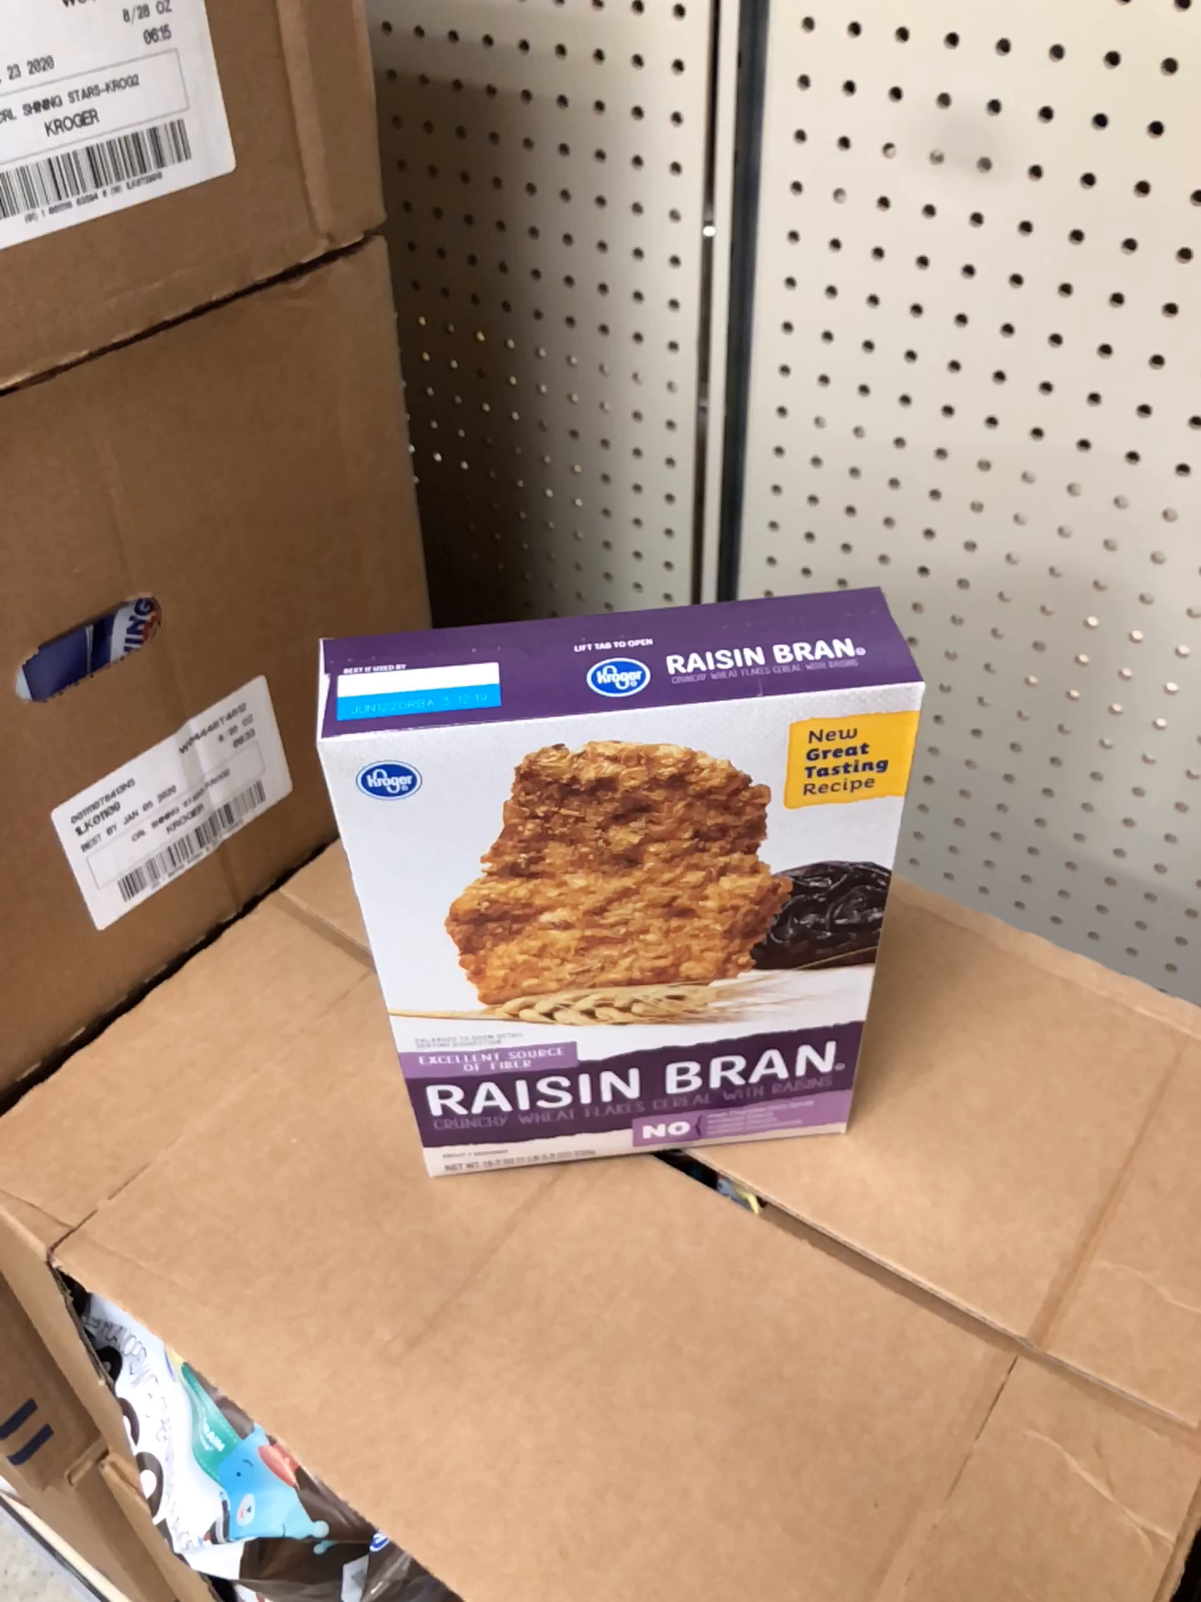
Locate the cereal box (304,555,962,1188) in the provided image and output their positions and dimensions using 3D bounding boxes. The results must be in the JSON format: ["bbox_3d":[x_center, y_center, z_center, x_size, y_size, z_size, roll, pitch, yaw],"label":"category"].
[{"bbox_3d":[0.011,0.043,0.518,0.200,0.269,0.060,-5,45,-4],"label":"cereal box"}]
